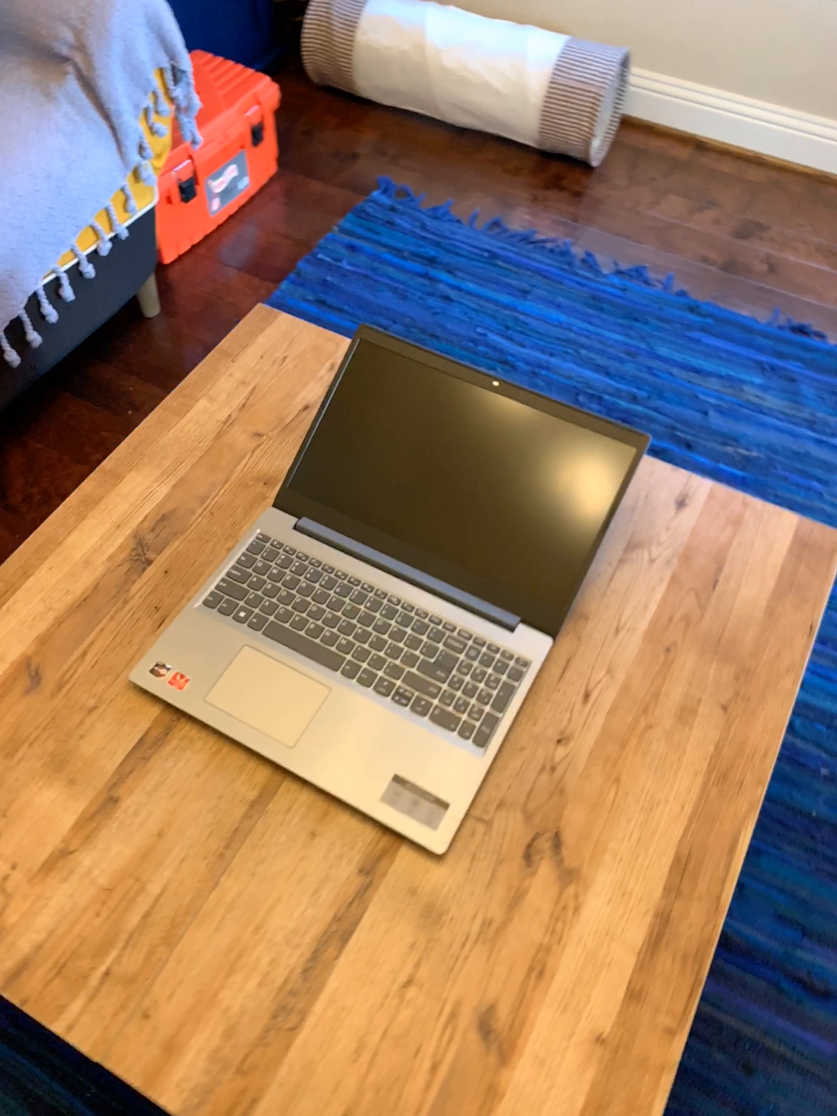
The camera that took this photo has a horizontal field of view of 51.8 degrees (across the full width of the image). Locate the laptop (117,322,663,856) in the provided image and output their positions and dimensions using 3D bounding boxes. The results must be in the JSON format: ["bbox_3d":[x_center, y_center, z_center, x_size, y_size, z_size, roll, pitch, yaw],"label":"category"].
[{"bbox_3d":[-0.011,-0.002,0.884,0.346,0.099,0.462,25,62,16],"label":"laptop"}]
